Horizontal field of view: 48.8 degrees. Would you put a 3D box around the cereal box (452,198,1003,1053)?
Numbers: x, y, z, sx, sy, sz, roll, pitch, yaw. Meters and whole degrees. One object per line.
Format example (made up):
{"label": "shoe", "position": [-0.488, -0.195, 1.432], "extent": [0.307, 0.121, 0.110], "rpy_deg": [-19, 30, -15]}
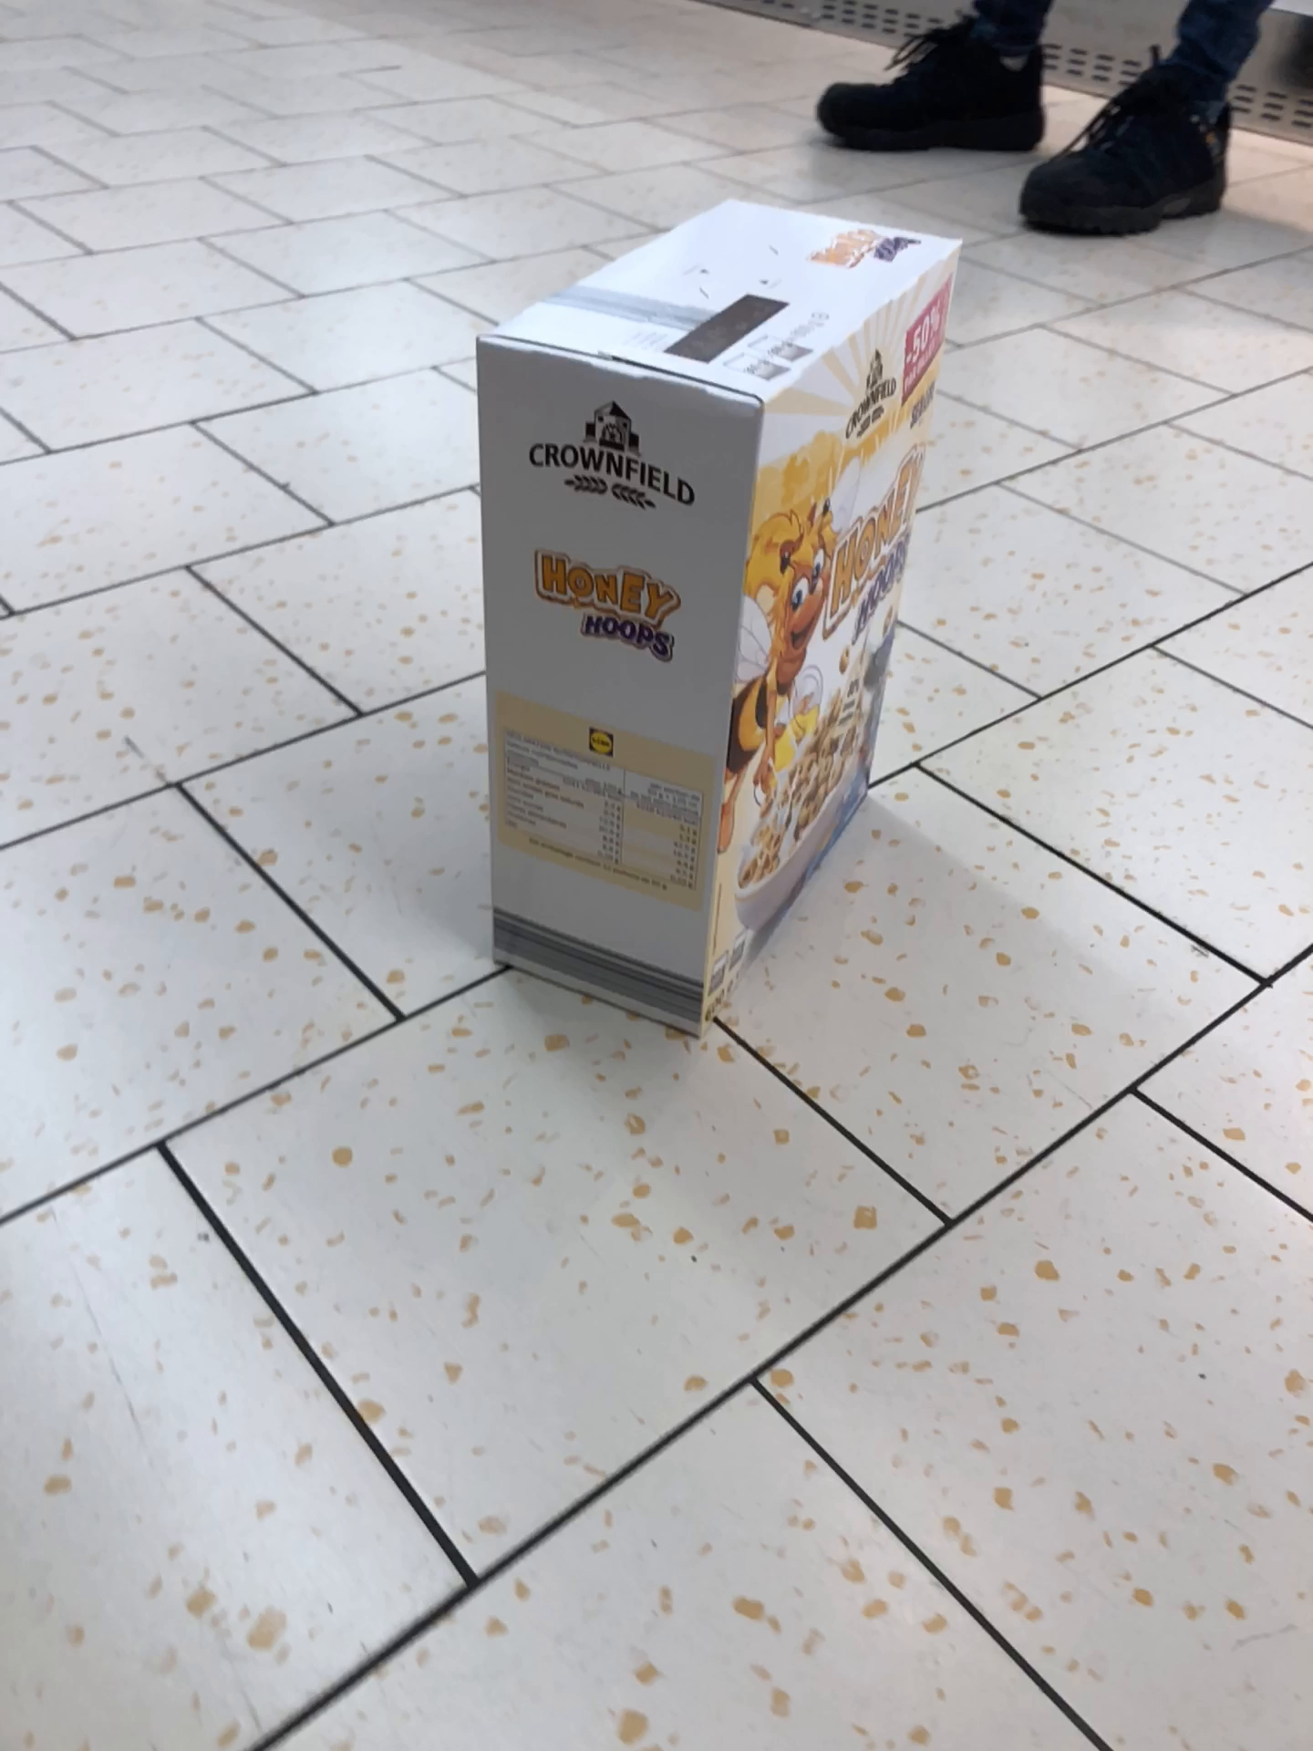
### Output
{"label": "cereal box", "position": [0.030, -0.104, 0.570], "extent": [0.110, 0.248, 0.212], "rpy_deg": [19, 40, 20]}
